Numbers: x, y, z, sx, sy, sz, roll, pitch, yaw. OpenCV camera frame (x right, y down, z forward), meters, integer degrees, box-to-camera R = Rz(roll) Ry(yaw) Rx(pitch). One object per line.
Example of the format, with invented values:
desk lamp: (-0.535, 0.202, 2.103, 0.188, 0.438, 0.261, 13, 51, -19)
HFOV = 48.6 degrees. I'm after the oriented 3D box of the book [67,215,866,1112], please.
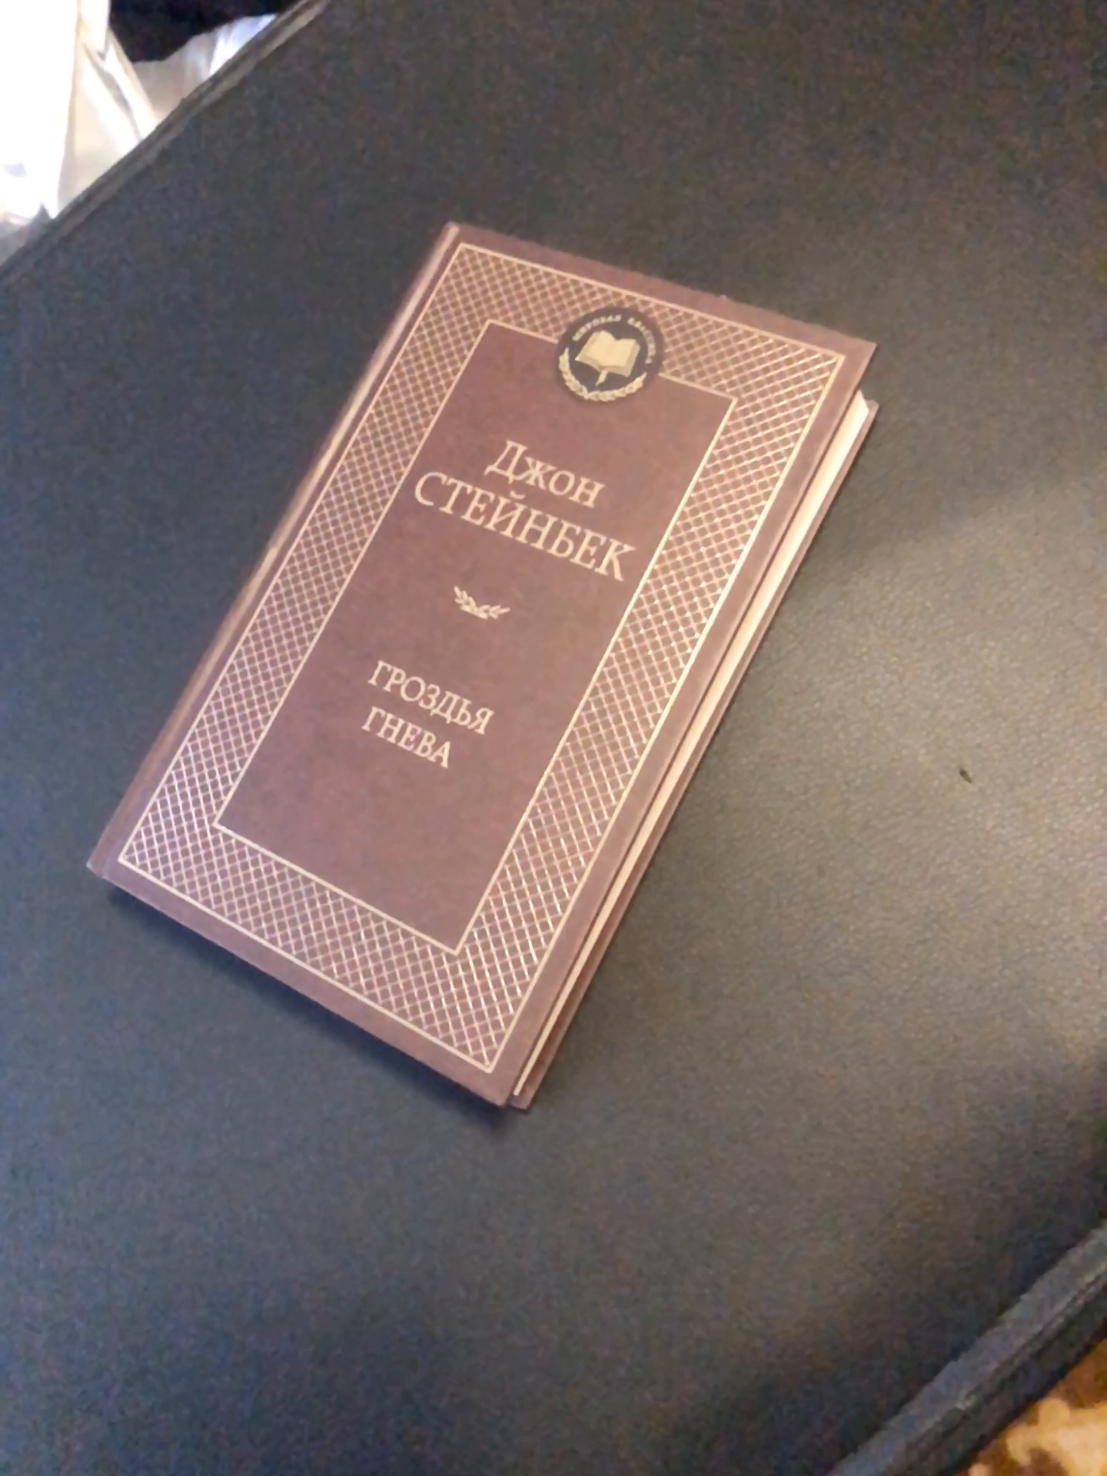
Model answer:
book: (-0.021, -0.026, 0.323, 0.130, 0.040, 0.199, 24, 83, 21)
